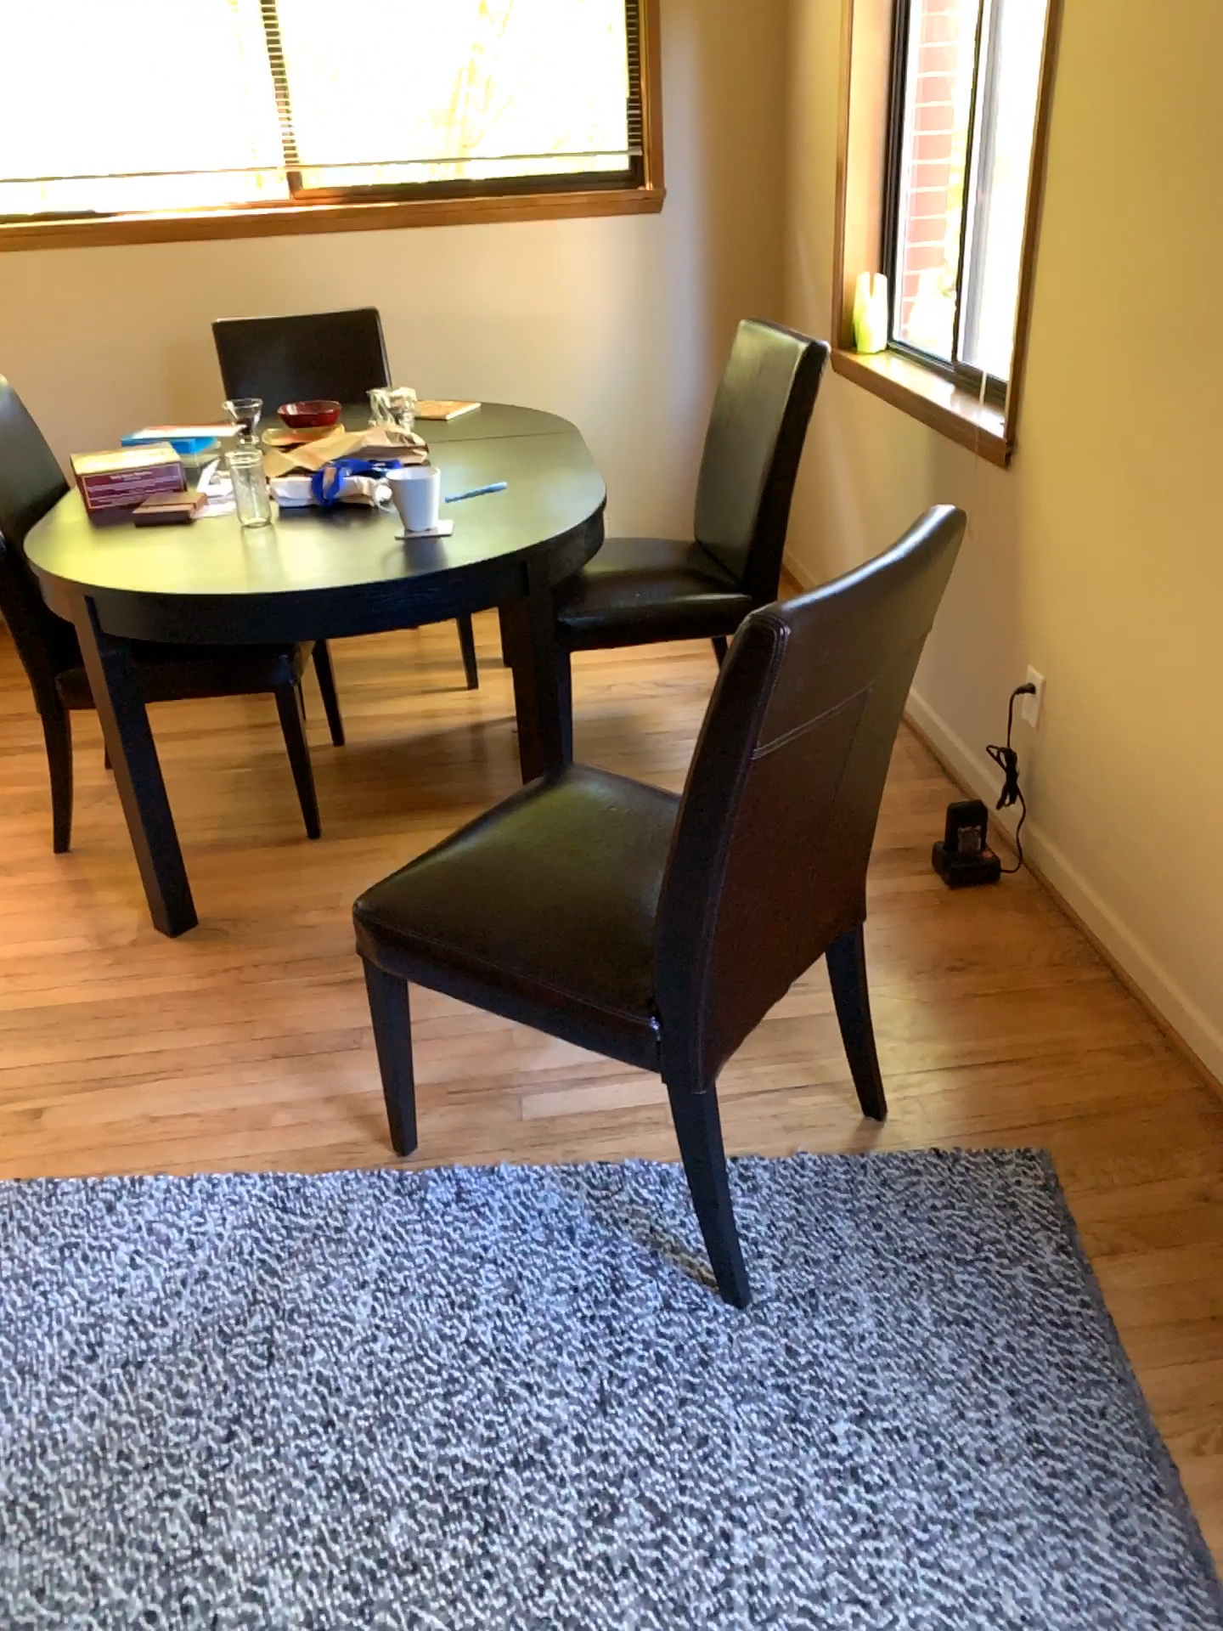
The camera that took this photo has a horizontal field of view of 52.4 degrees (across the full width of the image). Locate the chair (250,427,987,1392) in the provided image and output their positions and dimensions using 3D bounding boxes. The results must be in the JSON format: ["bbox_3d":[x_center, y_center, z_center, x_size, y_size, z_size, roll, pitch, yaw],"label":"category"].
[{"bbox_3d":[0.043,0.078,1.705,0.672,1.034,0.562,15,33,31],"label":"chair"}]
